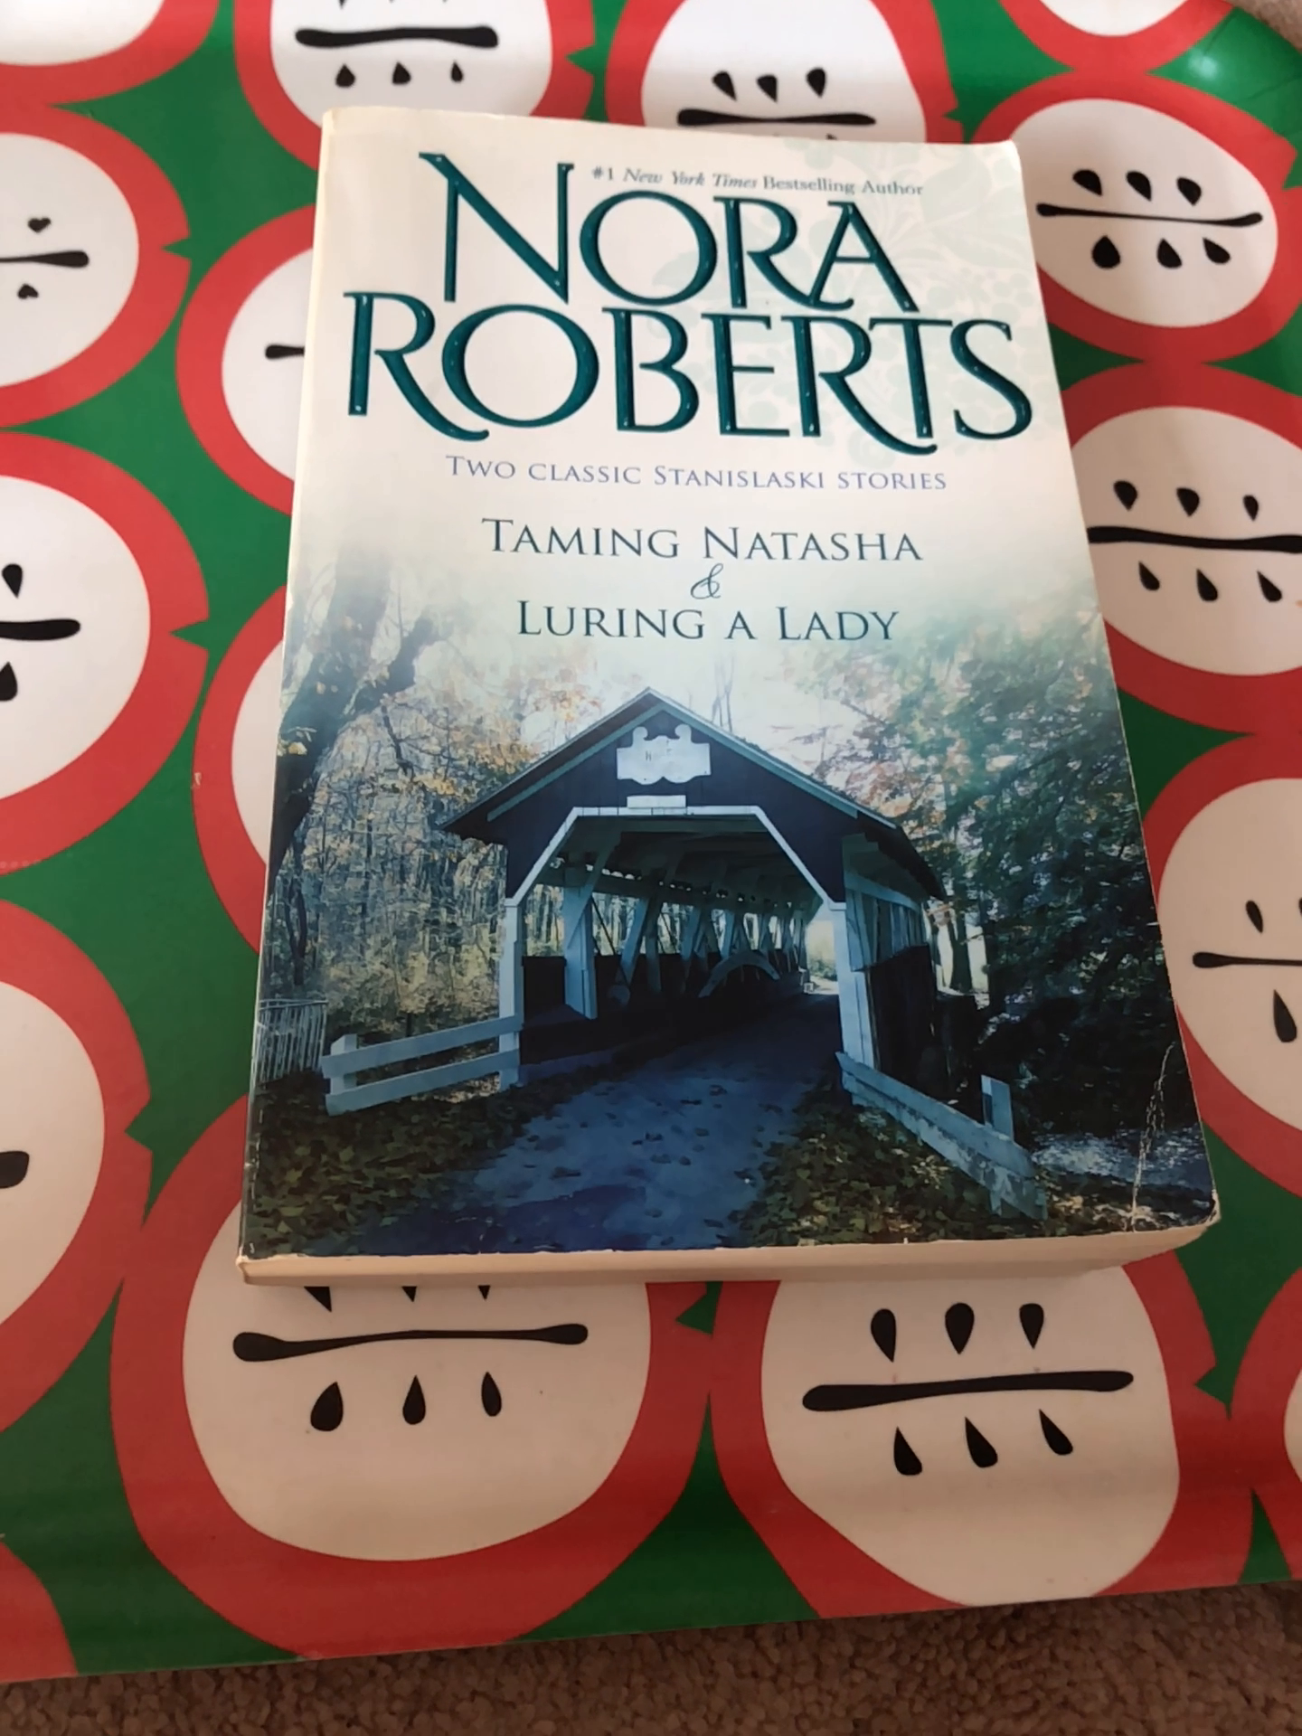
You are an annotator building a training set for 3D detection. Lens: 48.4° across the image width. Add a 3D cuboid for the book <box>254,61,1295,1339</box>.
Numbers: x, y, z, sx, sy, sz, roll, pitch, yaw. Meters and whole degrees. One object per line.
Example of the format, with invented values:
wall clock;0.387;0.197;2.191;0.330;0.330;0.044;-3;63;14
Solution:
book;0.014;-0.037;0.251;0.140;0.040;0.221;0;69;-5
